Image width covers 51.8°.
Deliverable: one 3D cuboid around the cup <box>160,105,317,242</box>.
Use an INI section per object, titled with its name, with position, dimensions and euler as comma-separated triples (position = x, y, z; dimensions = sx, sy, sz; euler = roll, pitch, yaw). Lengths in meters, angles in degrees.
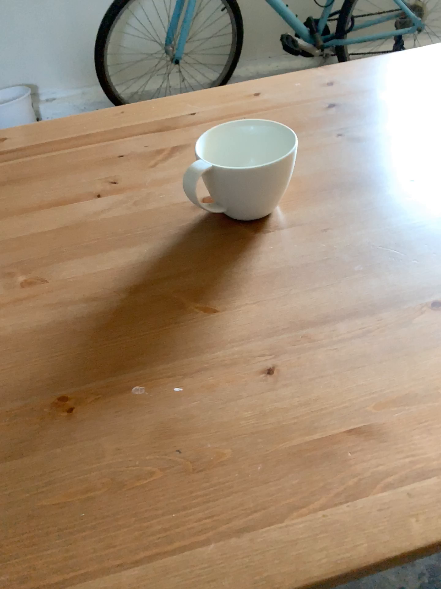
[cup]
position = 0.019, -0.138, 0.504
dimensions = 0.130, 0.070, 0.111
euler = -23, 48, -14
